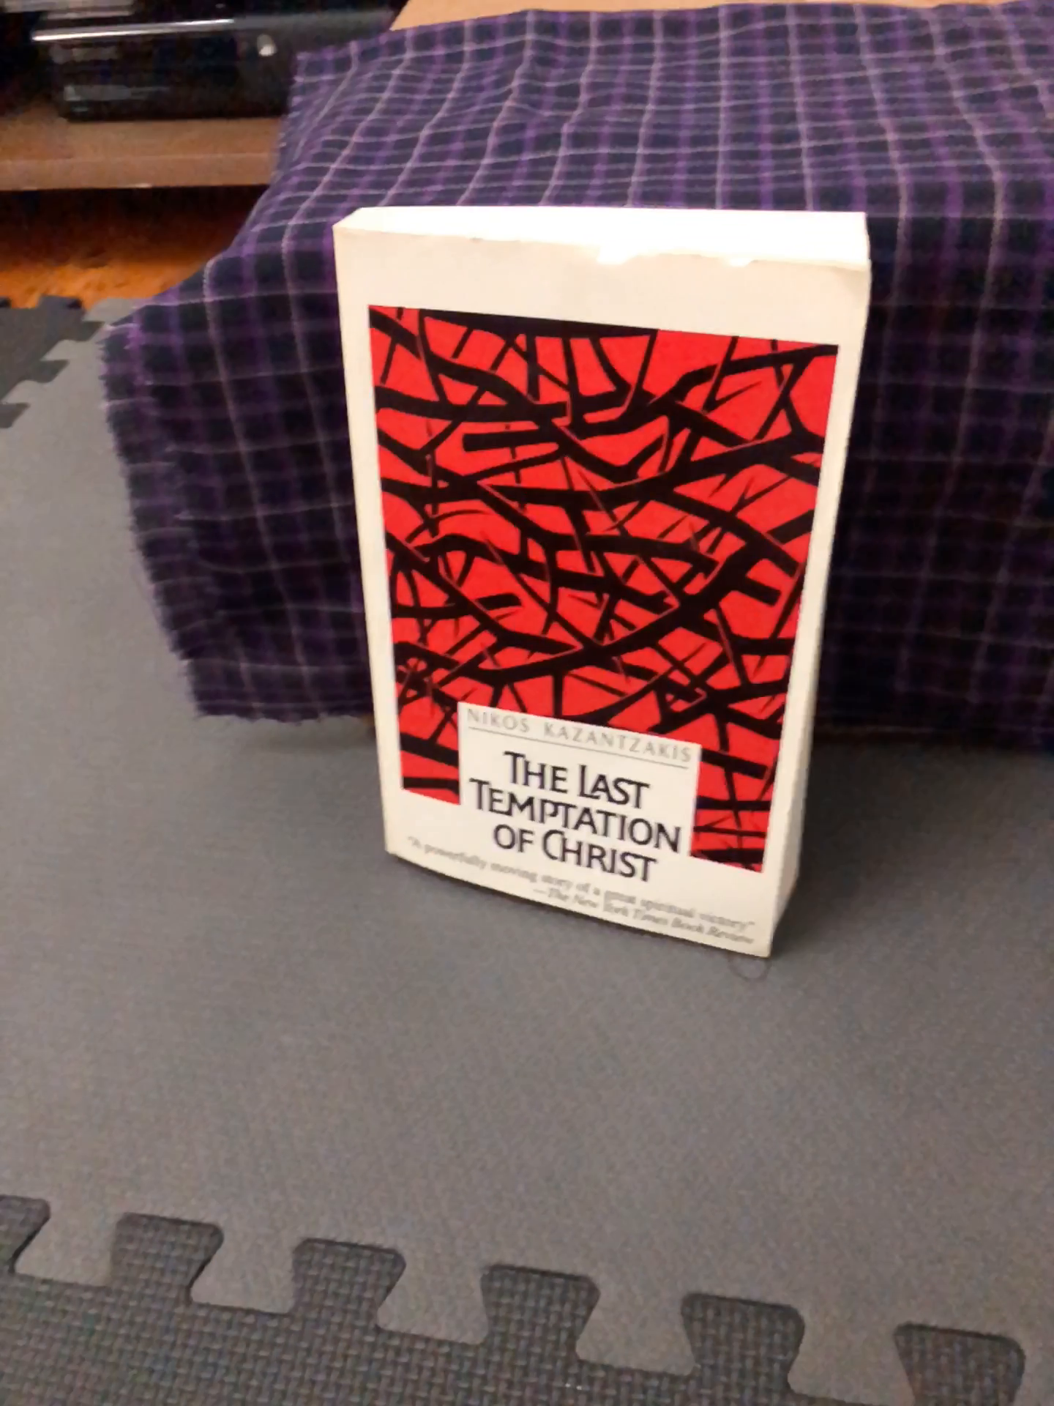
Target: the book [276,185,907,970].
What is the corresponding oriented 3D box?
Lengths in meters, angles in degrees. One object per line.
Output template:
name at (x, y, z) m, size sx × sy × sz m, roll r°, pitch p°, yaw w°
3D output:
book at (0.019, -0.036, 0.346) m, size 0.150 × 0.209 × 0.050 m, roll 12°, pitch 35°, yaw 25°
